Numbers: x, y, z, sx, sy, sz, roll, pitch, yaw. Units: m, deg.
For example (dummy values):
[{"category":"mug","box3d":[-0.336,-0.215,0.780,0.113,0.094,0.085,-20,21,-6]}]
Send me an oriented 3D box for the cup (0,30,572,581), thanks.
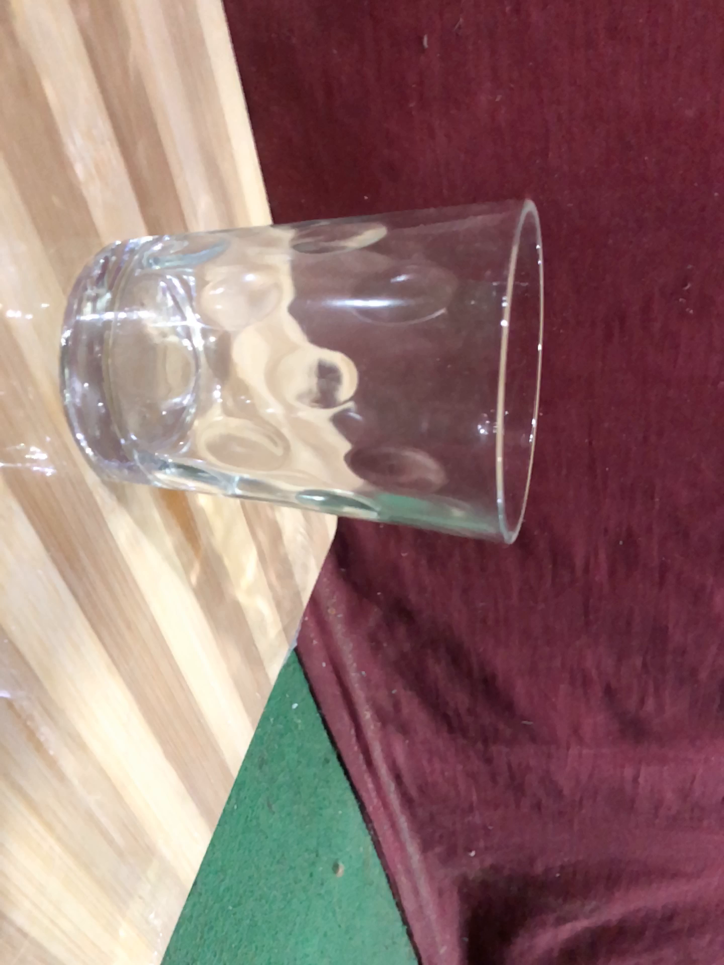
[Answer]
[{"category":"cup","box3d":[-0.010,-0.031,0.208,0.100,0.119,0.100,3,90,-75]}]
